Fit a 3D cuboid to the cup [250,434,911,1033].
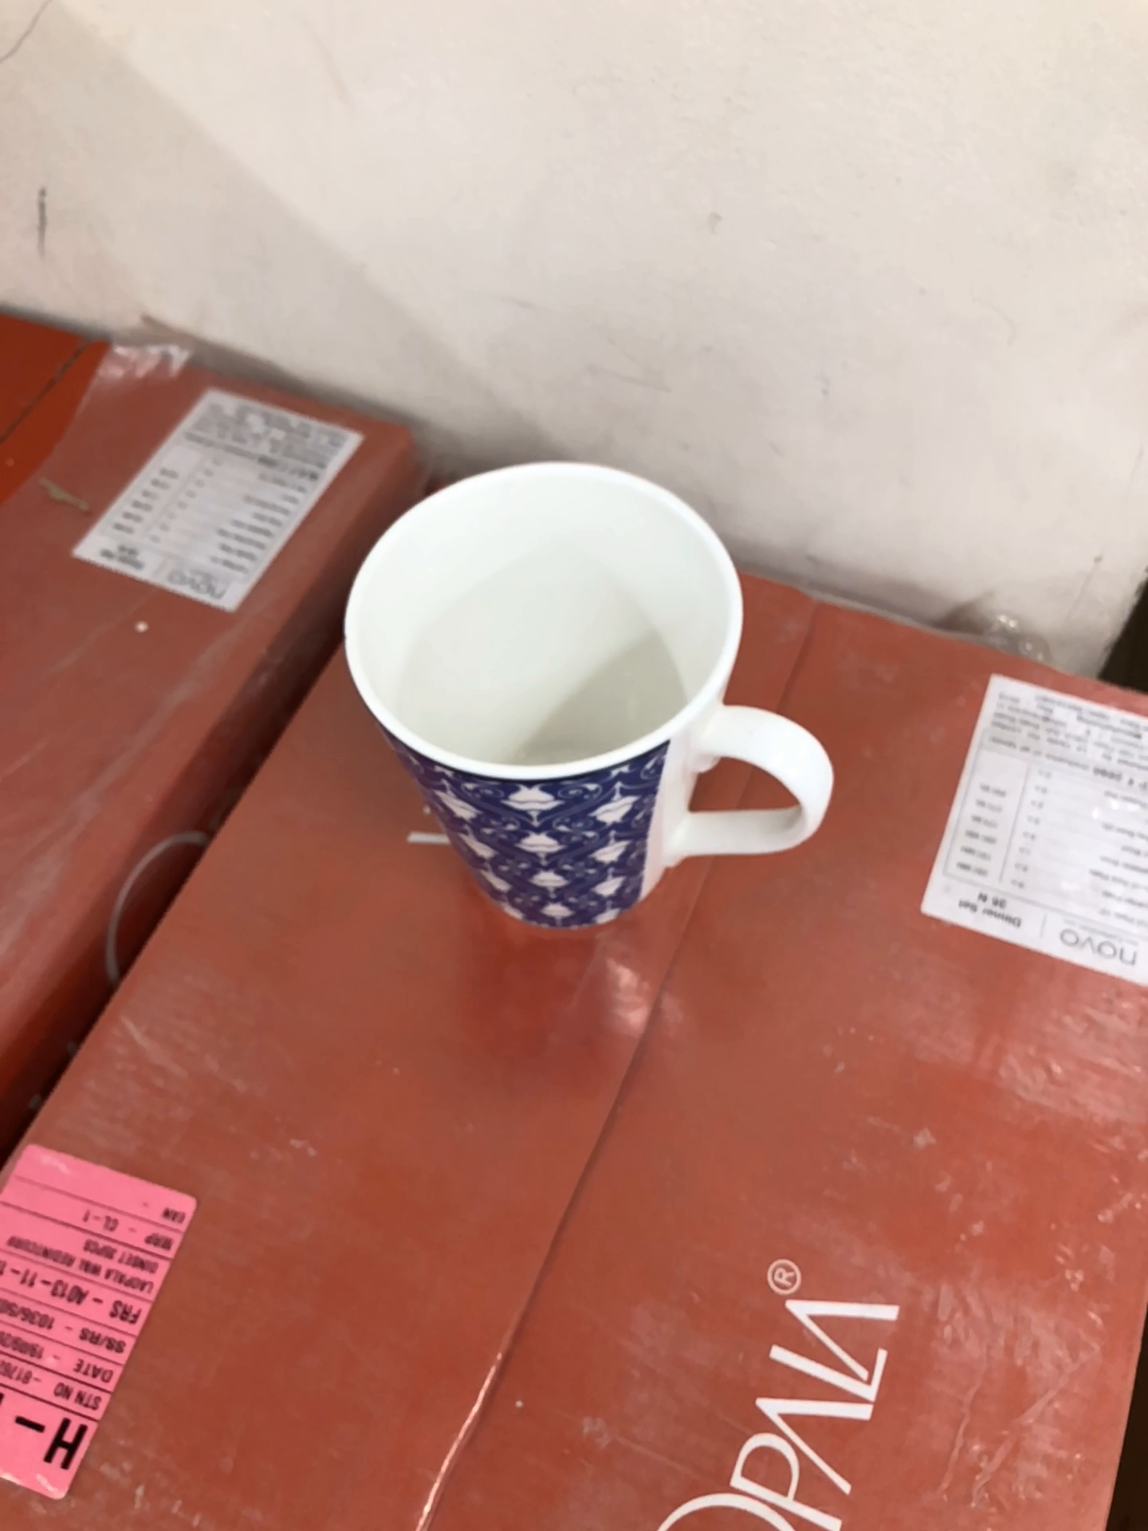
[{"bbox_3d":[0.006,-0.005,0.309,0.120,0.100,0.080,12,60,10],"label":"cup"}]
